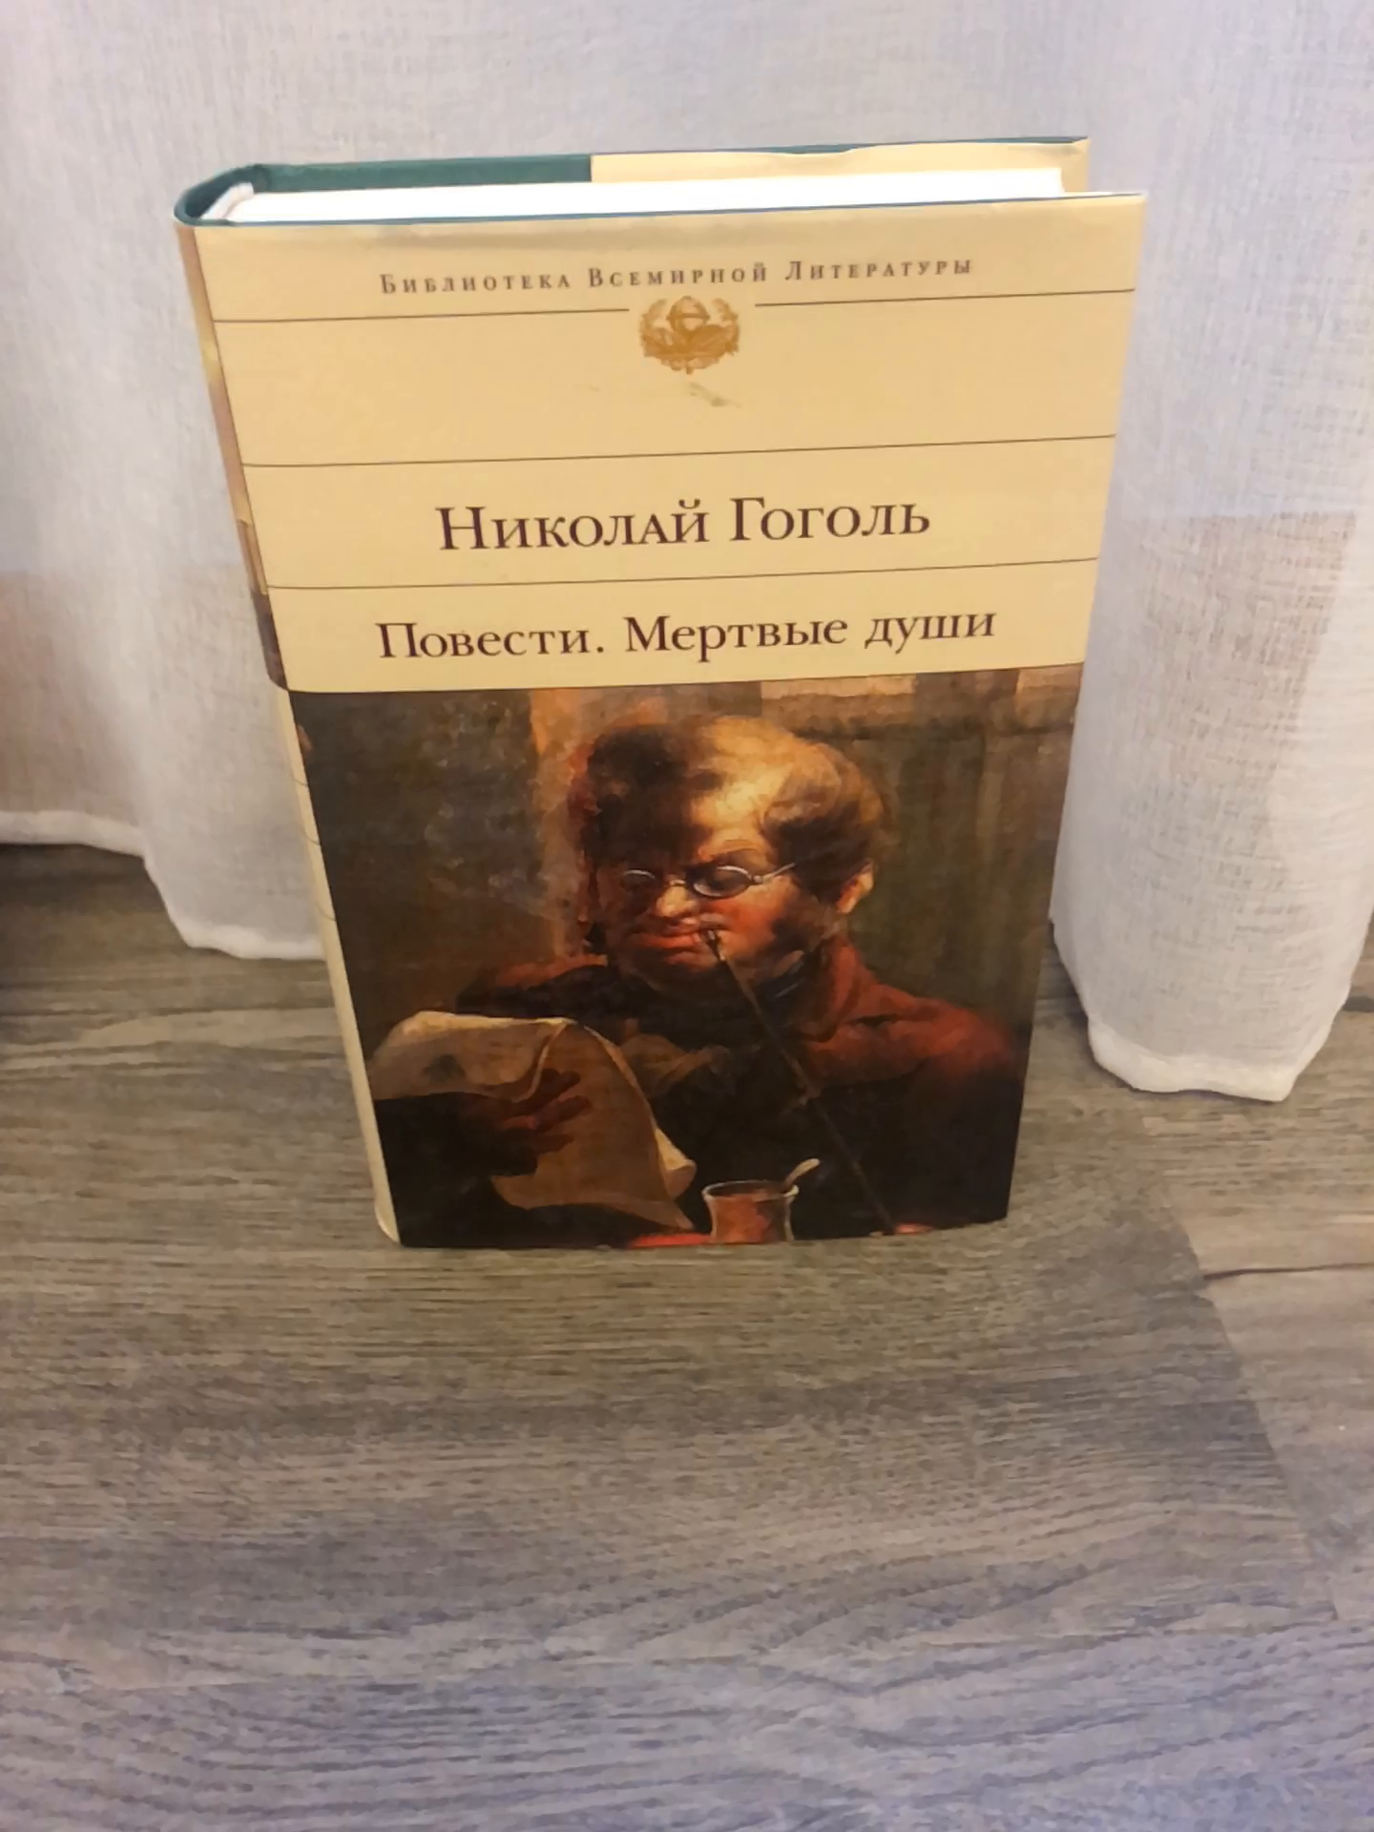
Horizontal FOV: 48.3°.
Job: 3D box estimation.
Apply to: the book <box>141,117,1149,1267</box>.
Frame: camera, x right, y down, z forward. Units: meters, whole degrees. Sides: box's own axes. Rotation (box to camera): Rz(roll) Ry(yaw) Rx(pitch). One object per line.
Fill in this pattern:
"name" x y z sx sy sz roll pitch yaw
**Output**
"book" -0.003 -0.024 0.281 0.133 0.209 0.041 -2 37 -1
